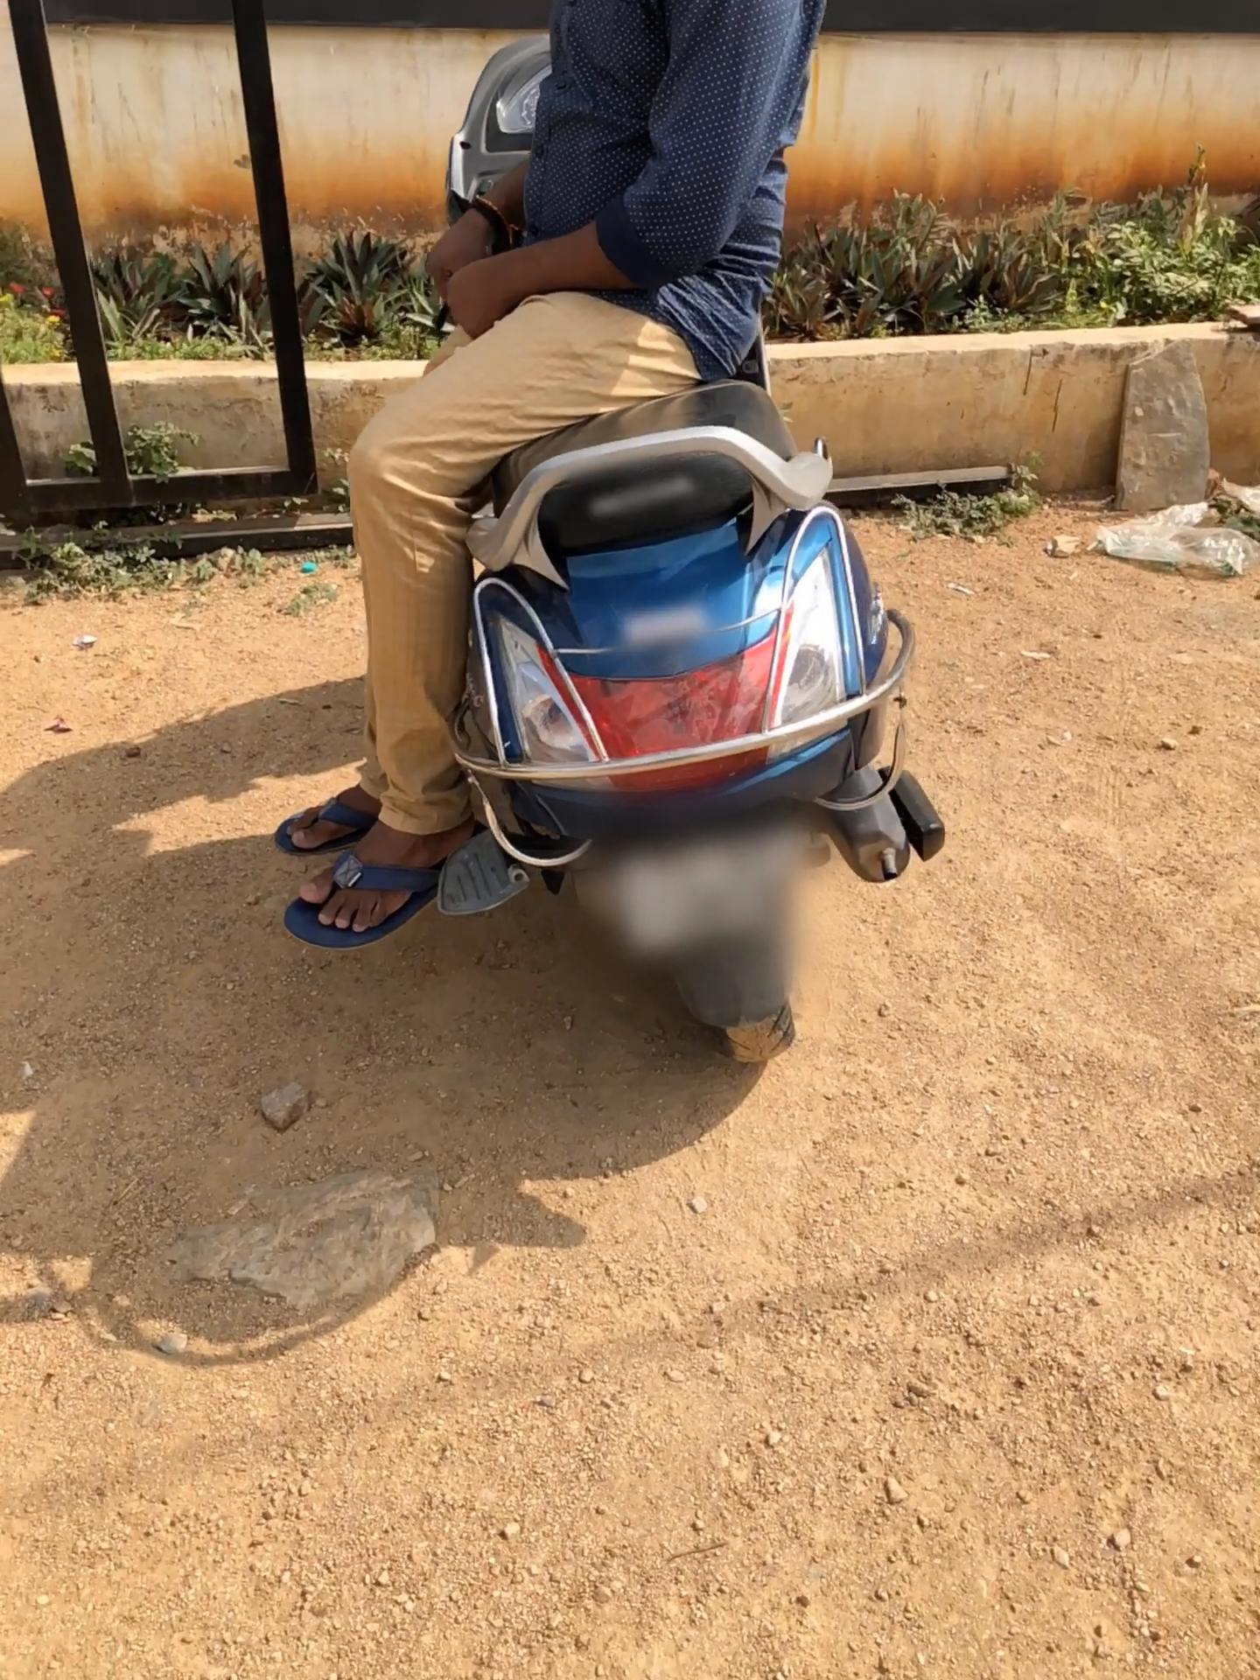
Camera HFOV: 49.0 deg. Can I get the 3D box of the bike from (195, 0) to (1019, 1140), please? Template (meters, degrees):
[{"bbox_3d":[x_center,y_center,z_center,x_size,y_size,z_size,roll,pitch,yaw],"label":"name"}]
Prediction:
[{"bbox_3d":[-0.133,-0.576,1.965,0.622,1.114,1.557,-4,33,-7],"label":"bike"}]
